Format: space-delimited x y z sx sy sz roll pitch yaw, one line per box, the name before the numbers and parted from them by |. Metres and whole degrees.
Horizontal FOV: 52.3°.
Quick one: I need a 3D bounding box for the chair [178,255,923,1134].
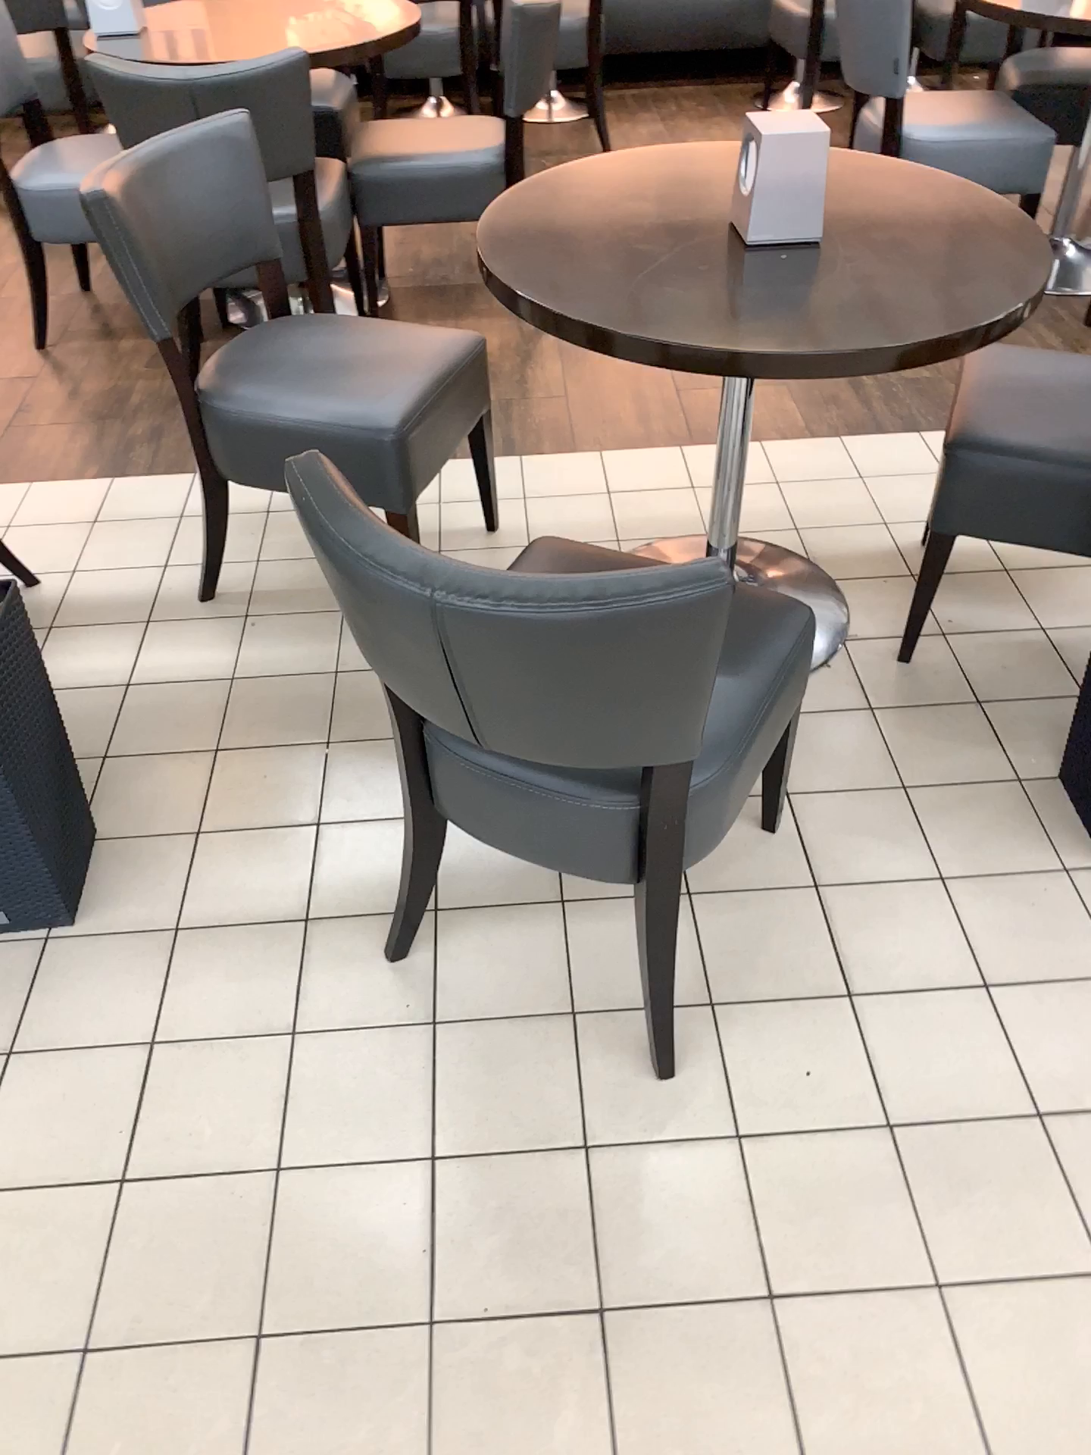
chair | 0.052 -0.060 1.441 0.551 0.796 0.642 19 46 22
